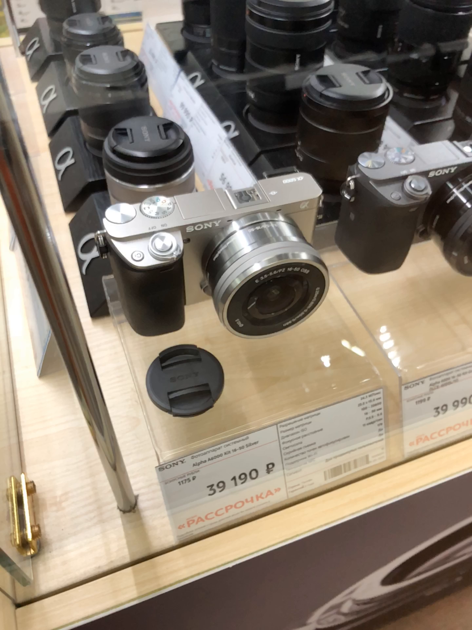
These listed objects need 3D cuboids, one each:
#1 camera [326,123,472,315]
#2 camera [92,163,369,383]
[{"bbox_3d":[0.134,-0.062,0.329,0.127,0.061,0.076,-14,51,-13],"label":"camera"},{"bbox_3d":[-0.006,-0.026,0.292,0.124,0.061,0.076,-14,51,-13],"label":"camera"}]
